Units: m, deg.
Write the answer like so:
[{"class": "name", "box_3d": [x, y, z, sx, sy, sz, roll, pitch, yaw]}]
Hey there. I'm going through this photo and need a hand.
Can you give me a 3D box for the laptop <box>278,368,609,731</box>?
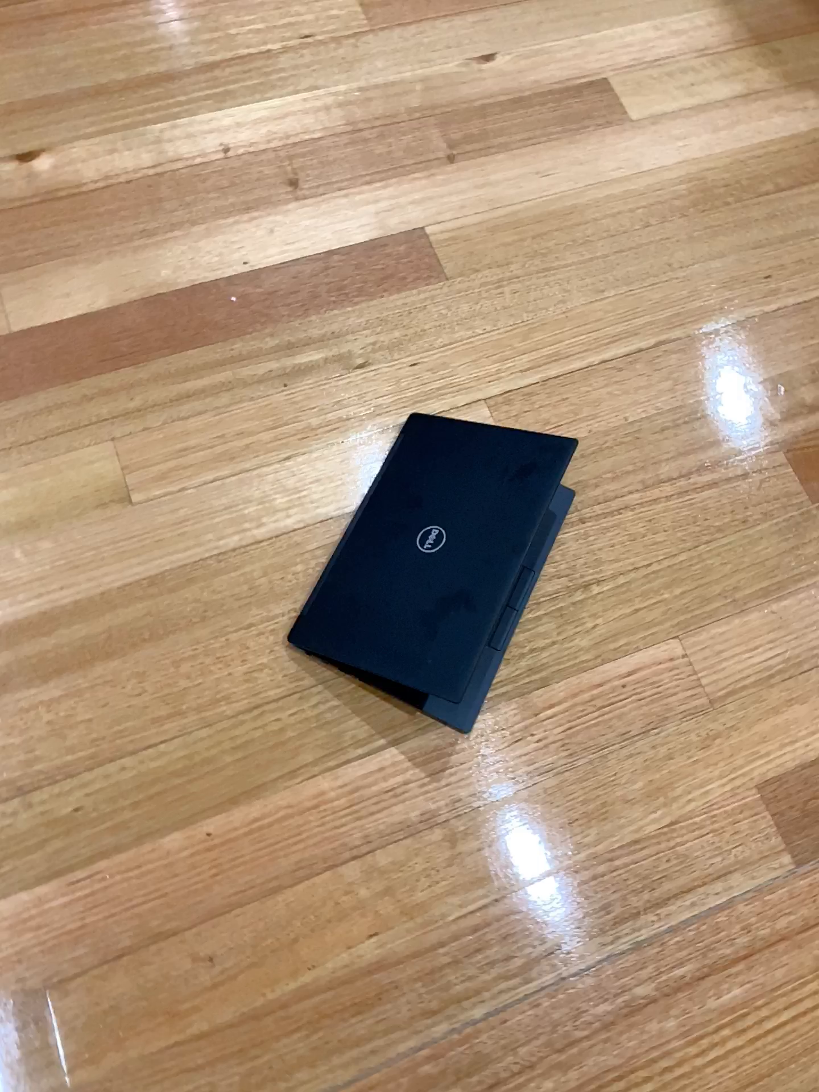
[{"class": "laptop", "box_3d": [0.035, 0.000, 0.847, 0.206, 0.110, 0.297, 25, 69, 7]}]
